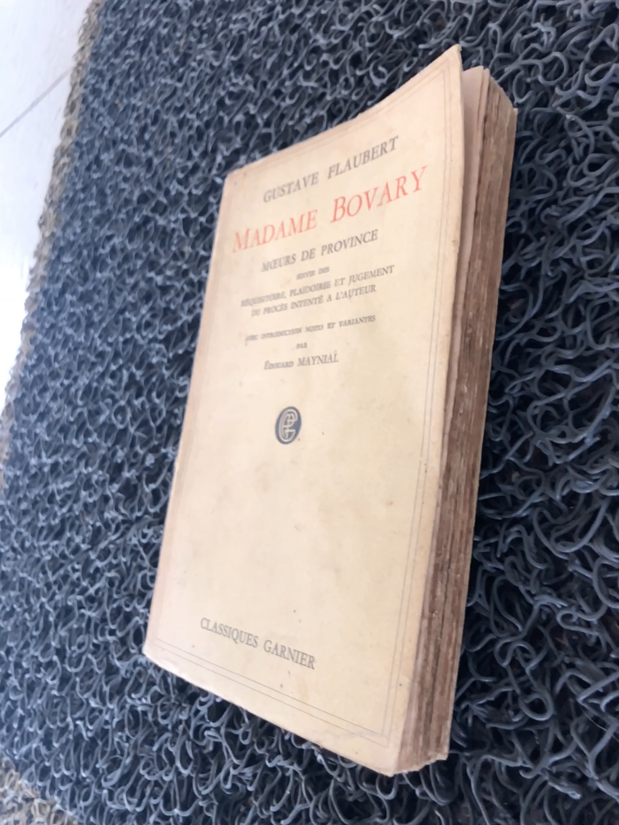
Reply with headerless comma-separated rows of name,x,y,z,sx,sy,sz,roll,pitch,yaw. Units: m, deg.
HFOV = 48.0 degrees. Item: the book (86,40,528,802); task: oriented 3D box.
book,-0.007,-0.002,0.217,0.124,0.035,0.180,-1,75,47
